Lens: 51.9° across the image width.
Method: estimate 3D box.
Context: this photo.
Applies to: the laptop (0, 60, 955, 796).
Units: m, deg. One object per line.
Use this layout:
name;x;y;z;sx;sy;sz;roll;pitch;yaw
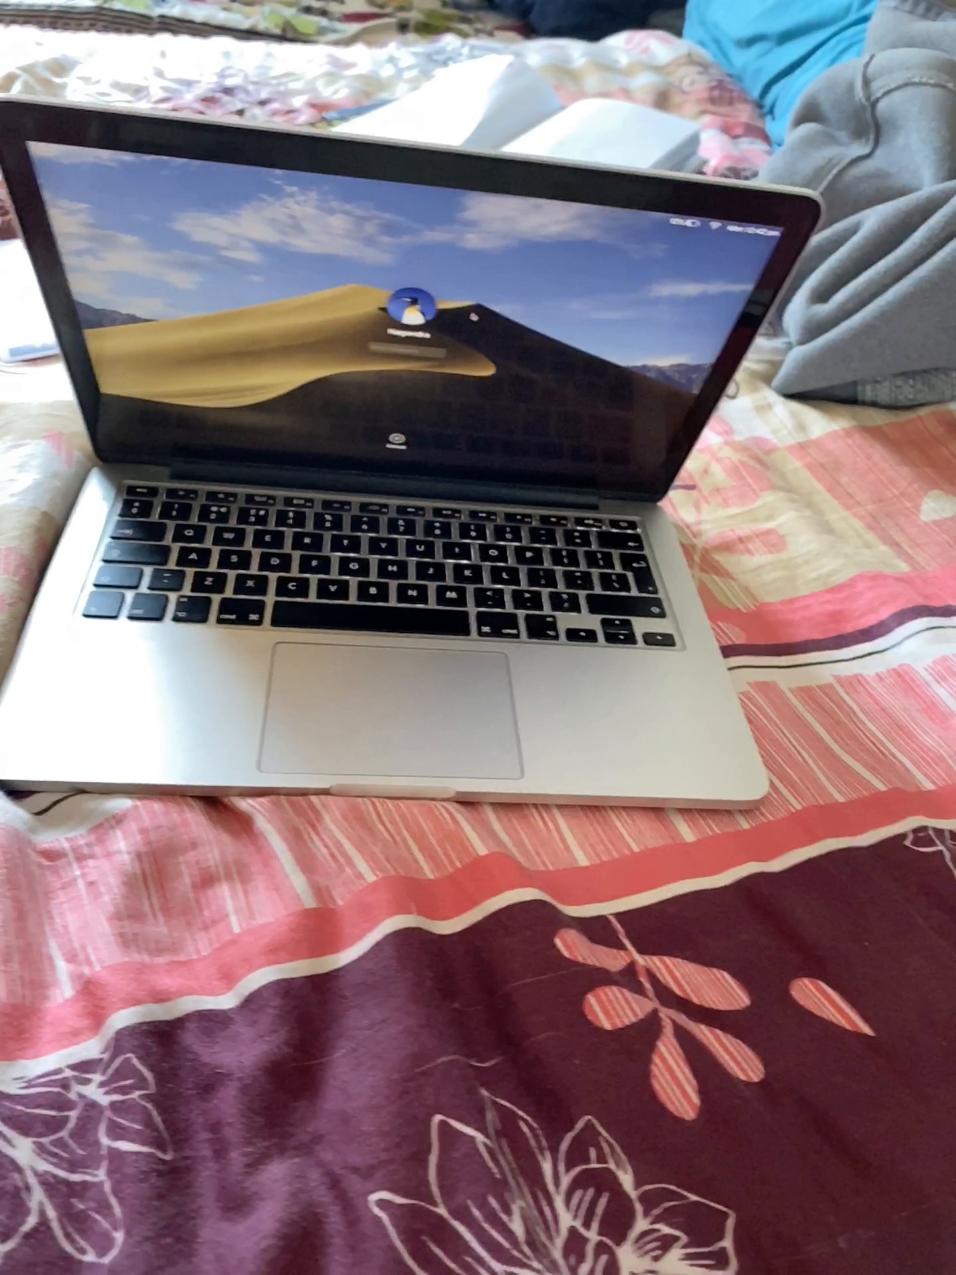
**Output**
laptop;-0.033;-0.081;0.392;0.303;0.191;0.203;3;43;-6
